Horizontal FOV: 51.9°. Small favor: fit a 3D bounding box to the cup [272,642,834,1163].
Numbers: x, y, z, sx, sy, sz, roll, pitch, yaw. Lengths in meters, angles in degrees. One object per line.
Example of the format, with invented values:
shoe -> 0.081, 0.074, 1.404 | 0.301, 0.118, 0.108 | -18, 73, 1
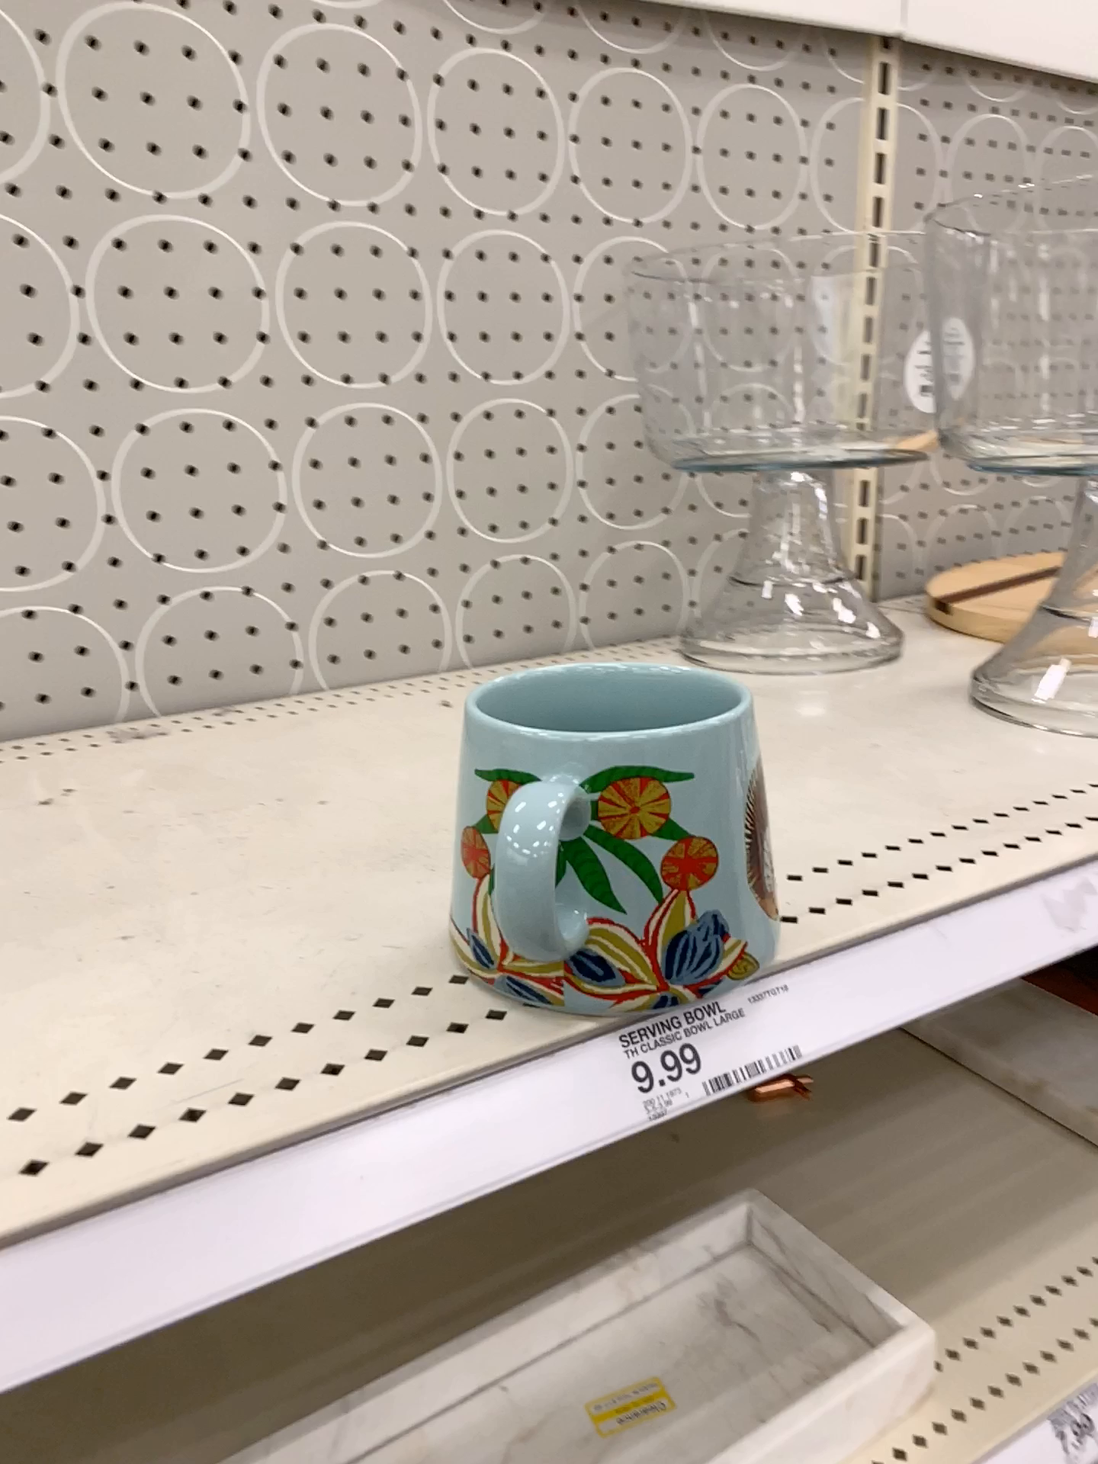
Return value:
cup -> 0.012, 0.035, 0.343 | 0.120, 0.090, 0.140 | 5, 18, 22
